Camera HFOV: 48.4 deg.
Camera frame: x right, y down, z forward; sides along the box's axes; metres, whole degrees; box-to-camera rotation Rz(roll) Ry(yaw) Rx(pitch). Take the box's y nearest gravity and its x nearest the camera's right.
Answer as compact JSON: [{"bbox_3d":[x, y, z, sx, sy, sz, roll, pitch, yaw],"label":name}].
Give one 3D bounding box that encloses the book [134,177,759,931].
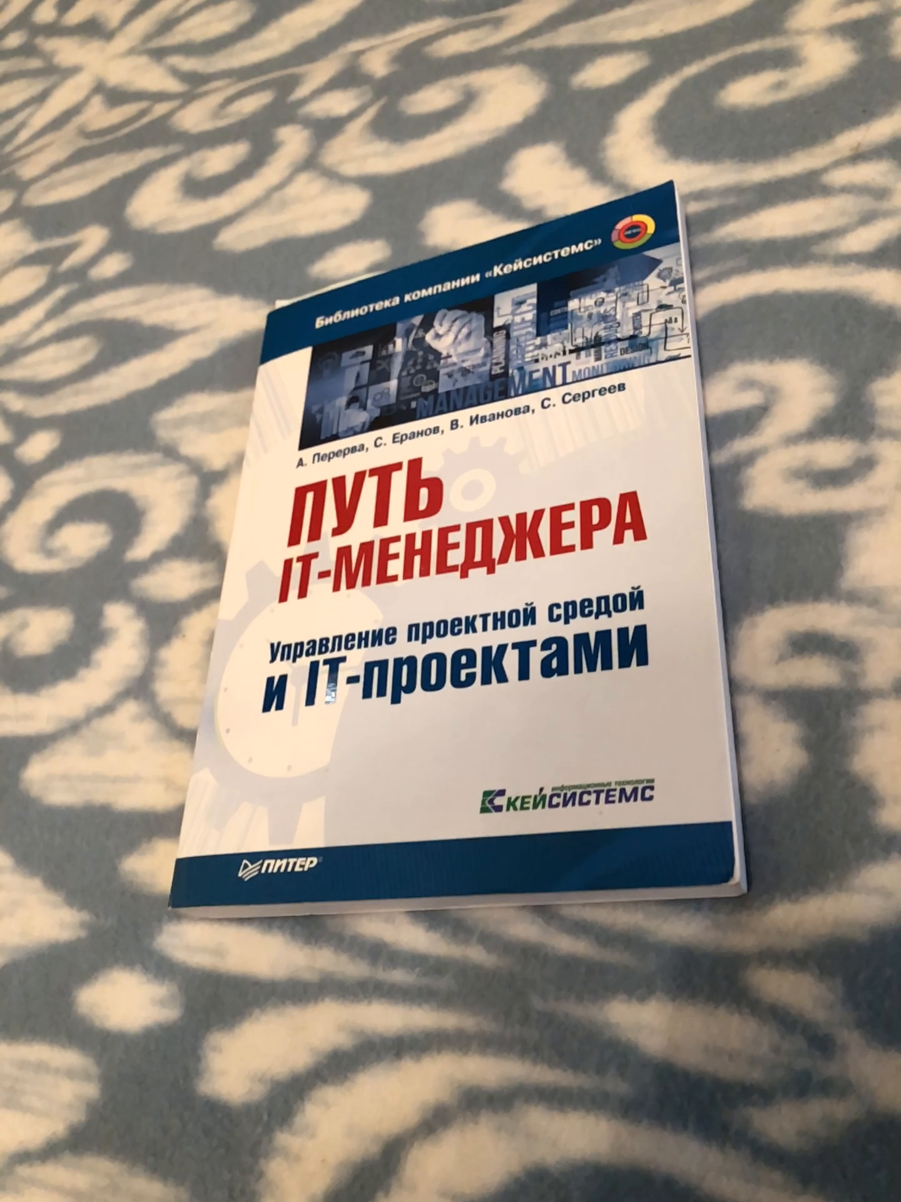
[{"bbox_3d":[-0.004,-0.018,0.315,0.173,0.019,0.228,-10,60,23],"label":"book"}]
